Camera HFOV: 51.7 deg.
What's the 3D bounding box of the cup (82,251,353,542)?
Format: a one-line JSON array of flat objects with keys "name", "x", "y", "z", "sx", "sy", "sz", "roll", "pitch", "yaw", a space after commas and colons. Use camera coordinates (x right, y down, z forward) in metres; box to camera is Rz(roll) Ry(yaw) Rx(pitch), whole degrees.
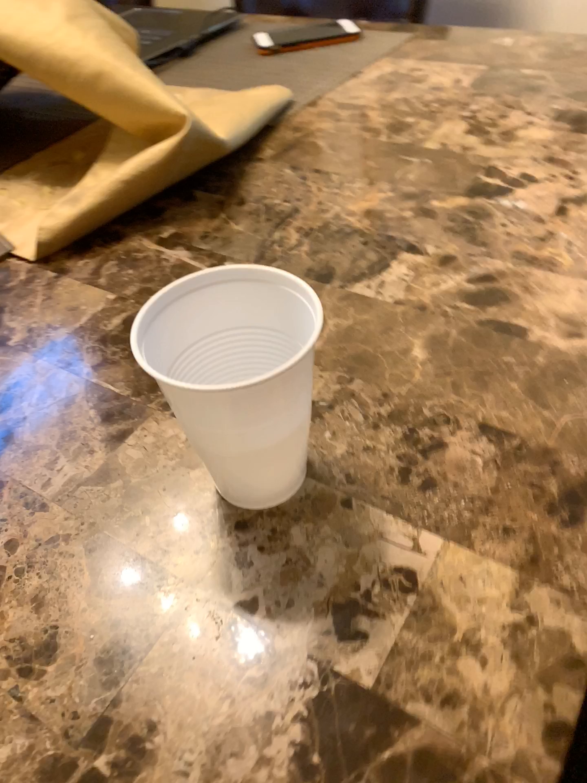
[{"name": "cup", "x": -0.025, "y": 0.000, "z": 0.272, "sx": 0.077, "sy": 0.083, "sz": 0.082, "roll": -5, "pitch": 44, "yaw": 4}]
